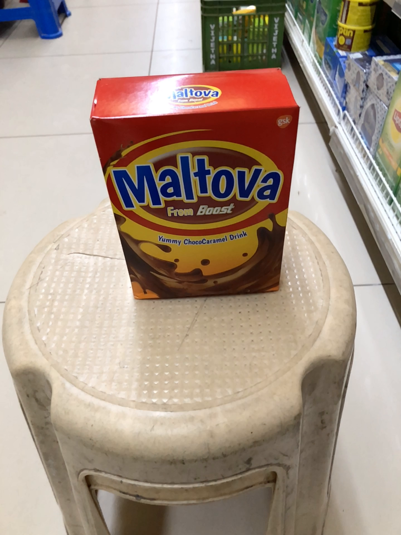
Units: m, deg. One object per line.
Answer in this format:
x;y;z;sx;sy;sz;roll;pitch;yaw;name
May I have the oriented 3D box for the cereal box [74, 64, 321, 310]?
0.000;-0.055;0.357;0.150;0.179;0.070;-3;45;-1;cereal box
